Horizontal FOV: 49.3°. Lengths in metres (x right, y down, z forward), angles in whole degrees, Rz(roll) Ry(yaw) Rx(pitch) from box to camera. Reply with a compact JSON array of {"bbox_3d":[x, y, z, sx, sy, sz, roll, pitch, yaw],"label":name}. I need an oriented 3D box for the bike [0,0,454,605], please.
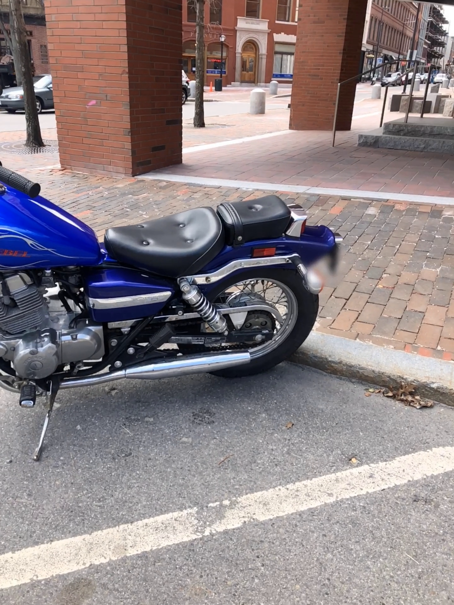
[{"bbox_3d":[-0.446,-0.037,1.448,2.028,1.179,0.928,-6,25,-25],"label":"bike"}]
